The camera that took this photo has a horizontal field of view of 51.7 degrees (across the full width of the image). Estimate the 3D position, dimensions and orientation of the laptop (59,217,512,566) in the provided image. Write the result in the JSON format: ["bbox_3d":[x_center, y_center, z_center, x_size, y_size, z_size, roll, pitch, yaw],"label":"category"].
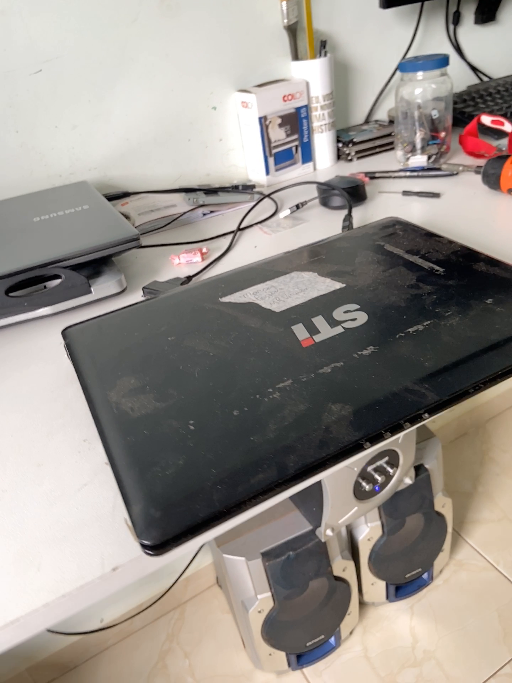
[{"bbox_3d":[0.043,-0.009,0.396,0.337,0.011,0.231,-21,37,-19],"label":"laptop"}]

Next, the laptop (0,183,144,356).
[{"bbox_3d":[-0.317,-0.099,0.543,0.344,0.006,0.228,-22,36,-23],"label":"laptop"}]
